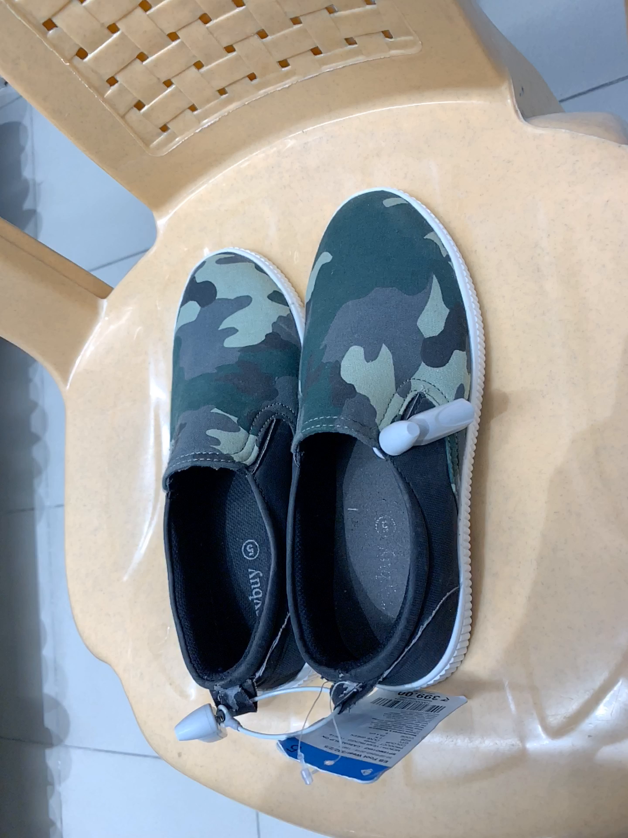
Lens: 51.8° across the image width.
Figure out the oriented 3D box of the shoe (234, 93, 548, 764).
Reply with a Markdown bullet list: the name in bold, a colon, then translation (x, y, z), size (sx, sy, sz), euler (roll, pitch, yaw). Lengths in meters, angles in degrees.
- **shoe**: translation (0.034, 0.005, 0.293), size (0.090, 0.100, 0.240), euler (-9, 78, 29)

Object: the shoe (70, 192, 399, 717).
- **shoe**: translation (-0.041, 0.020, 0.333), size (0.090, 0.100, 0.220), euler (-18, 78, 28)
